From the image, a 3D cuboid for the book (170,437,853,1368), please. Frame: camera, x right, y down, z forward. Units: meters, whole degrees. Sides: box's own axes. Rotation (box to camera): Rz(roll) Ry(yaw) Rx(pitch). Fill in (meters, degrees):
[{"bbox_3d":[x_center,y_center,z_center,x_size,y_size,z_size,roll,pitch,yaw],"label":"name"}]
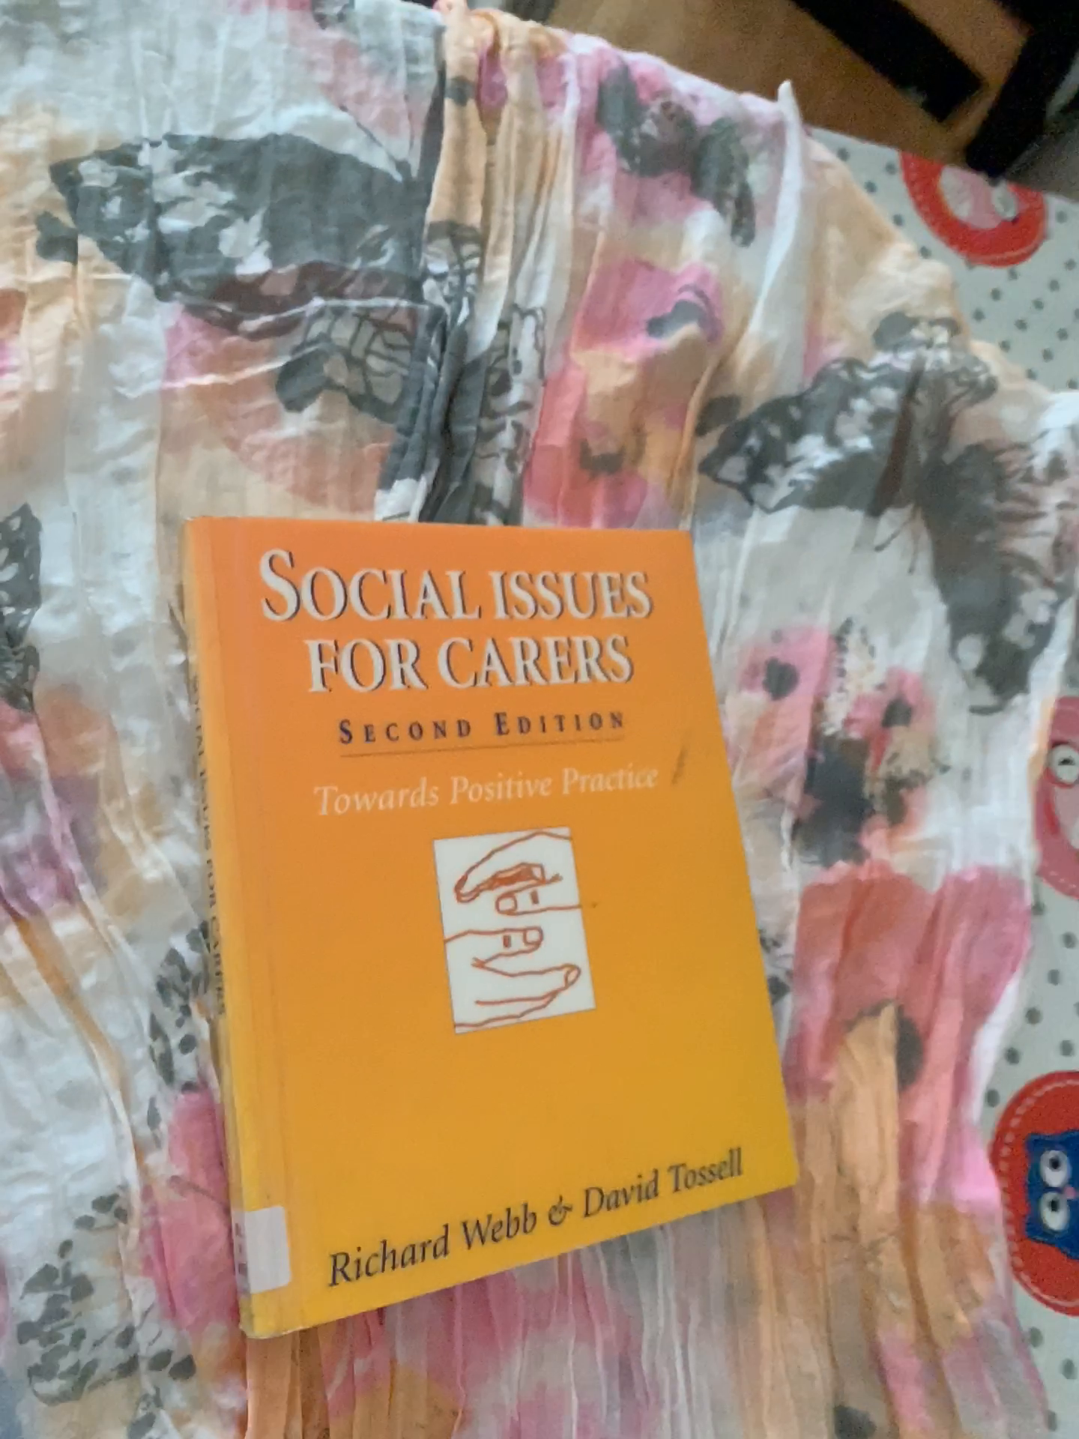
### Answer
[{"bbox_3d":[-0.010,0.042,0.385,0.200,0.040,0.270,-3,79,-25],"label":"book"}]
